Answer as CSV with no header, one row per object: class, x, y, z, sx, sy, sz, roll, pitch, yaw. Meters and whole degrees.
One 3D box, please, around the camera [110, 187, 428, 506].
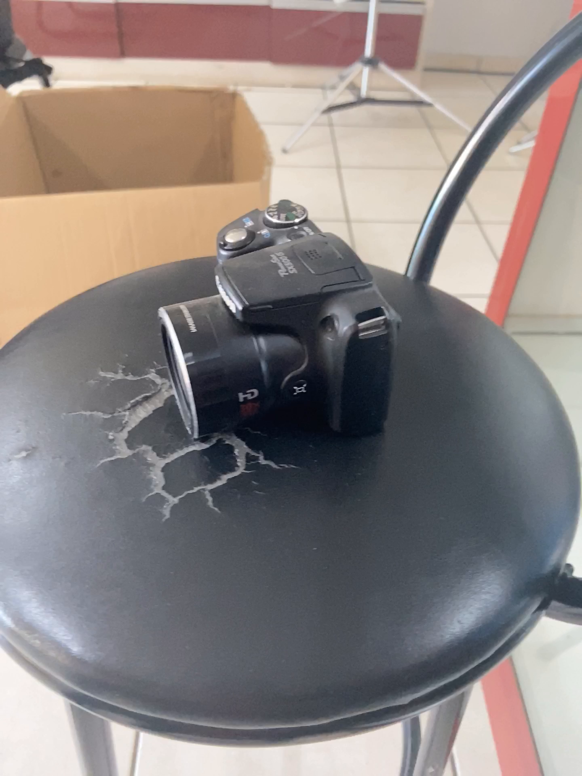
camera,-0.015,-0.026,0.264,0.090,0.070,0.110,-17,44,-19
